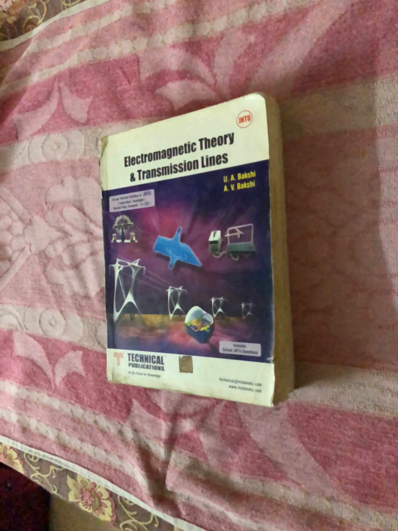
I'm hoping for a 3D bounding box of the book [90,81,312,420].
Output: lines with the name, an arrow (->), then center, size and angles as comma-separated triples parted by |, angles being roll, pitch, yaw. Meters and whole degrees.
book -> -0.007, -0.008, 0.406 | 0.201, 0.060, 0.250 | -2, 88, 35
